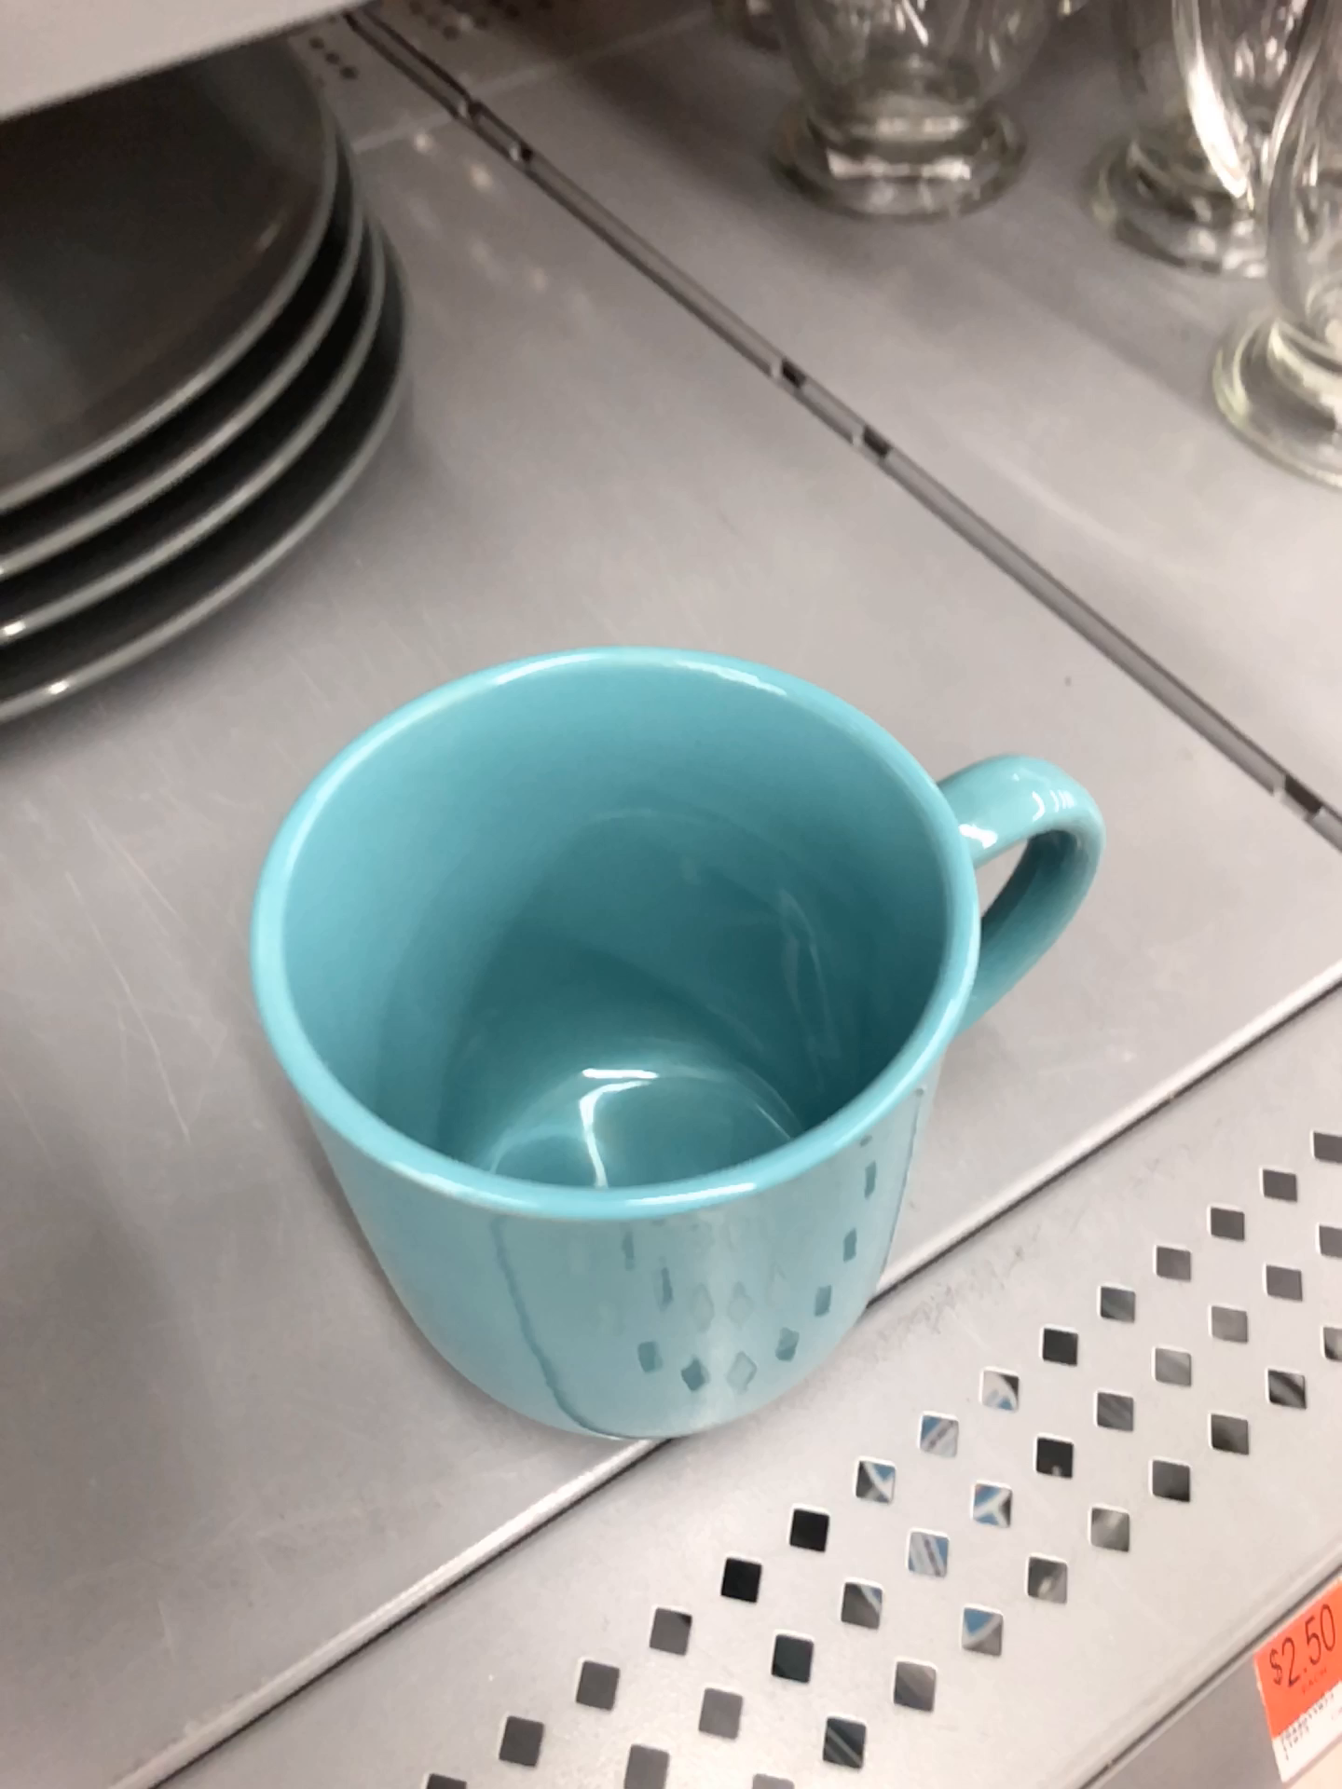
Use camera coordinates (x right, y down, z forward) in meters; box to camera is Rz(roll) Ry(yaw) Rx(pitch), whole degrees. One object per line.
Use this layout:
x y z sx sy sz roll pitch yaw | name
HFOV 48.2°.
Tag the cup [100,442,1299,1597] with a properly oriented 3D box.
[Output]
0.003 0.016 0.219 0.114 0.091 0.091 -31 58 -19 | cup
